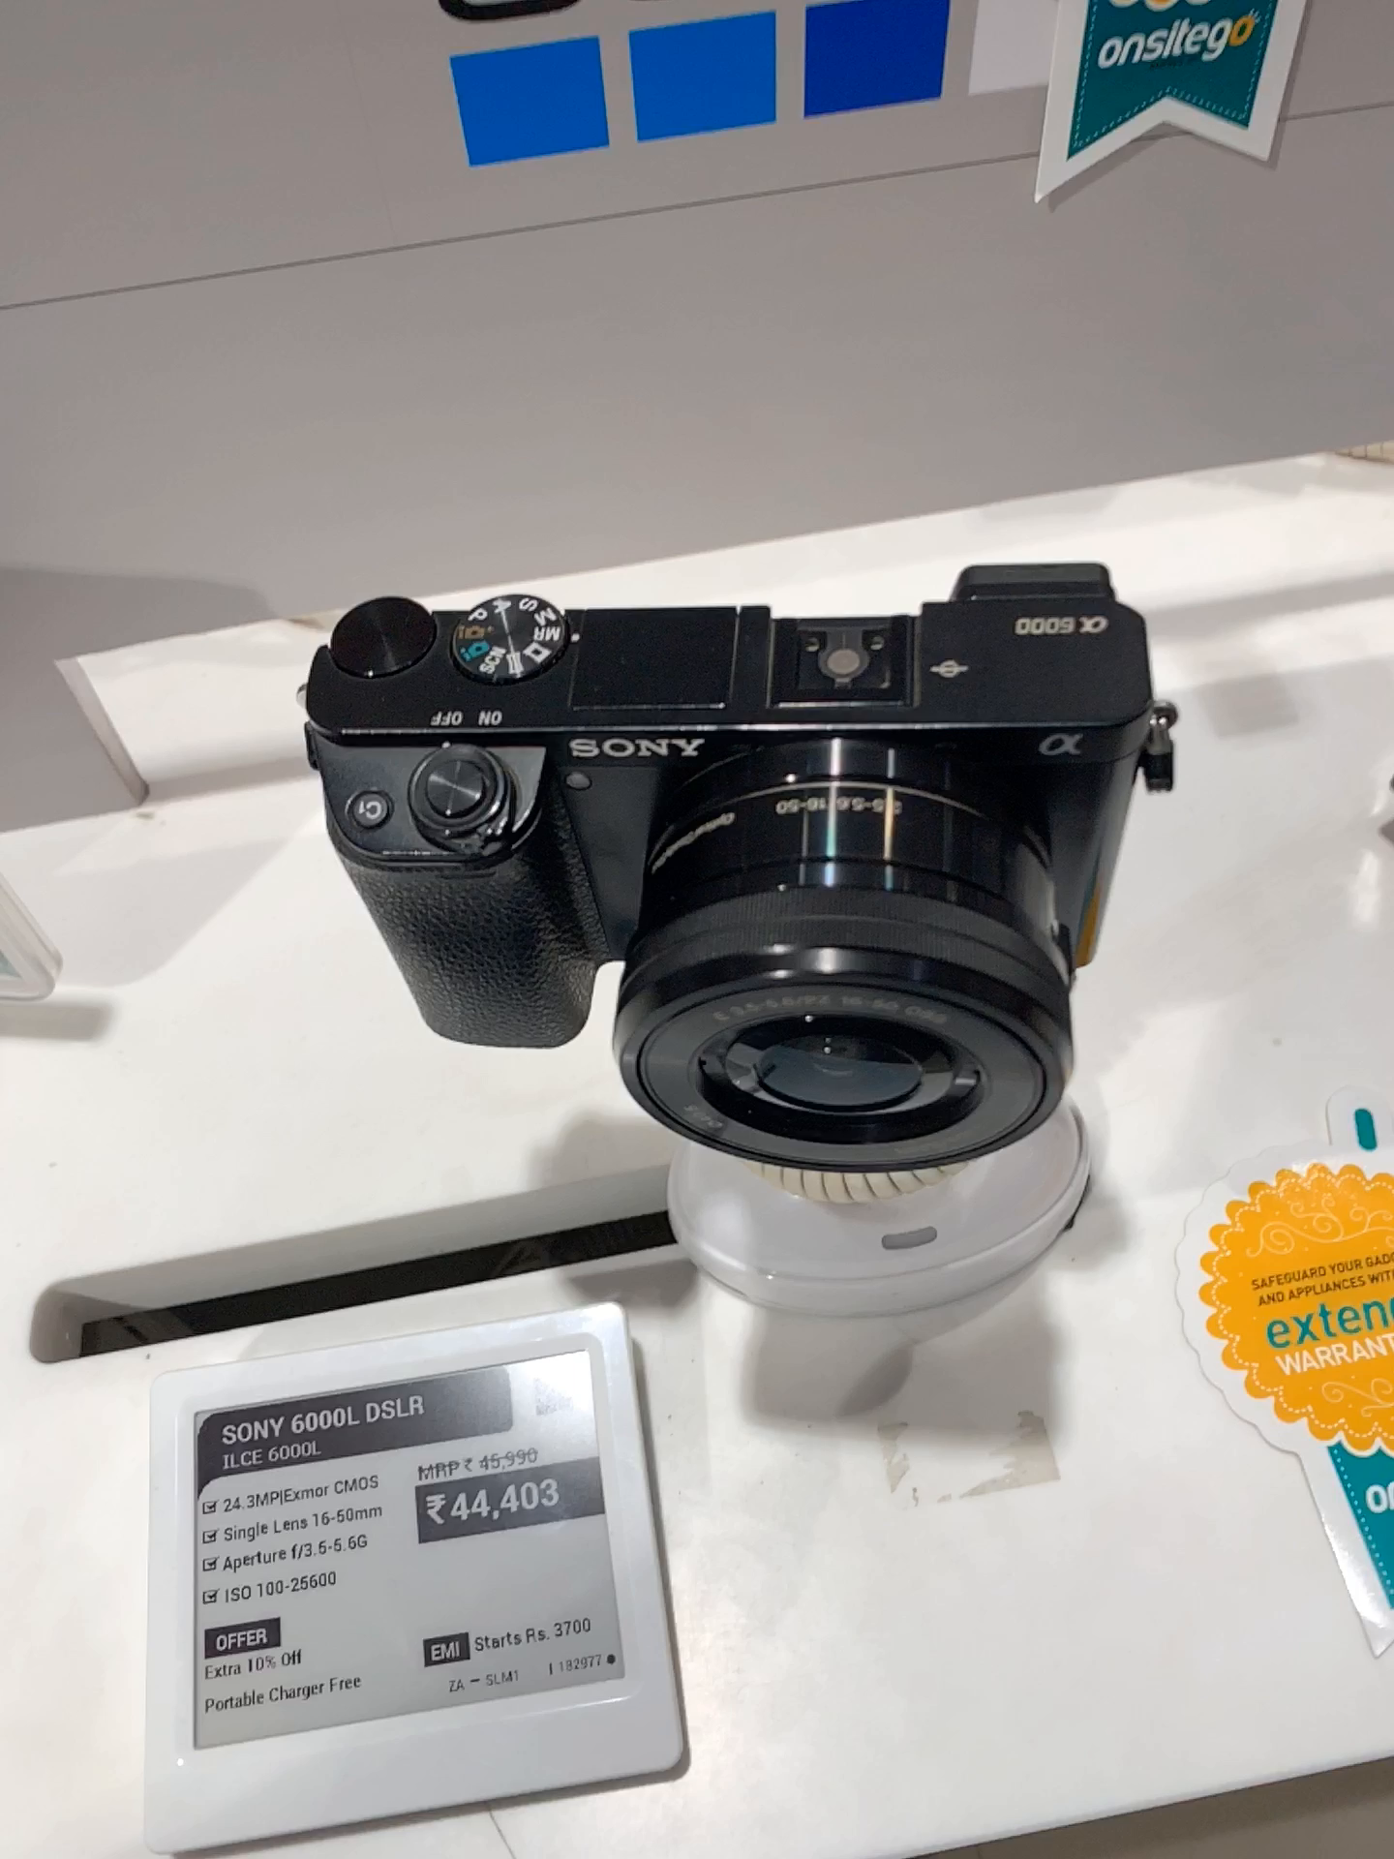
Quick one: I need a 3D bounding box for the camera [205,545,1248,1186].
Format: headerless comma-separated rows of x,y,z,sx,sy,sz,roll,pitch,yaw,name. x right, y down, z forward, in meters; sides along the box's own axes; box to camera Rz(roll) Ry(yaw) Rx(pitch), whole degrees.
0.005,-0.004,0.217,0.120,0.090,0.050,-2,57,3,camera
